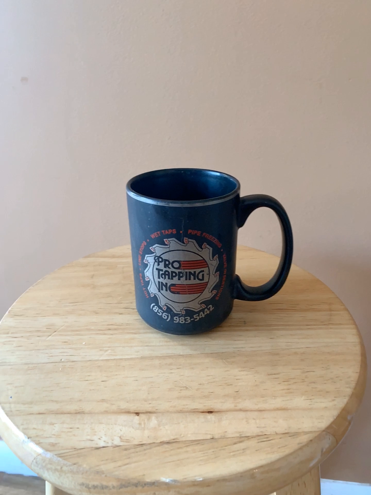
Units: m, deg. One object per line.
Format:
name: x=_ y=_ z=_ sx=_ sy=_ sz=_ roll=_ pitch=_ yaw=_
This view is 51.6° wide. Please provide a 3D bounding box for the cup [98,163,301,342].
cup: x=0.010 y=-0.001 z=0.339 sx=0.140 sy=0.119 sz=0.111 roll=1 pitch=25 yaw=1
